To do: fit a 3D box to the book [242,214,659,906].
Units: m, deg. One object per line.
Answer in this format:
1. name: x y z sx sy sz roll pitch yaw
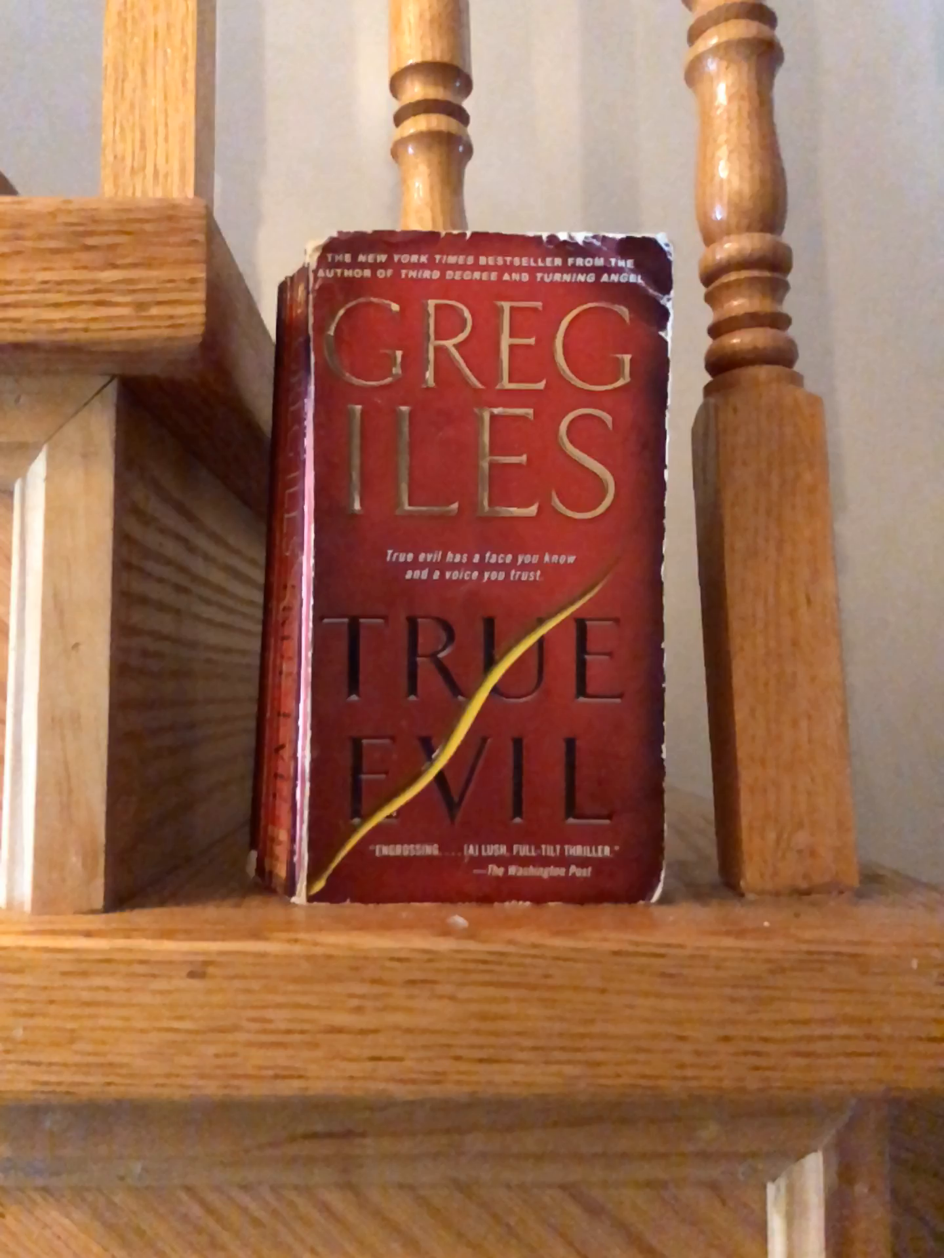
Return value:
1. book: -0.008 -0.022 0.344 0.120 0.206 0.068 -1 -5 -2
